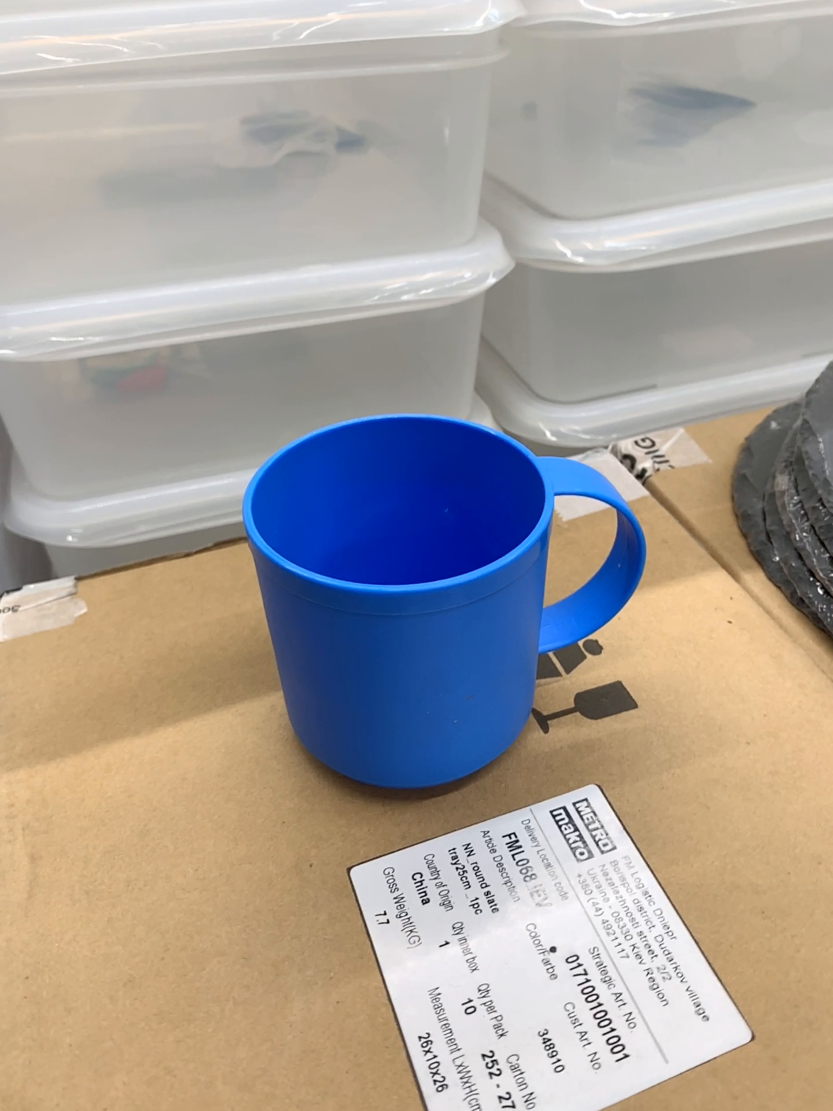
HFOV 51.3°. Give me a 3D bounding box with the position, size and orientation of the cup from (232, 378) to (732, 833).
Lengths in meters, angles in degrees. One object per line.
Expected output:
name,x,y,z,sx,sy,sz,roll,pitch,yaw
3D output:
cup,0.012,0.008,0.251,0.109,0.071,0.089,-12,39,-10
